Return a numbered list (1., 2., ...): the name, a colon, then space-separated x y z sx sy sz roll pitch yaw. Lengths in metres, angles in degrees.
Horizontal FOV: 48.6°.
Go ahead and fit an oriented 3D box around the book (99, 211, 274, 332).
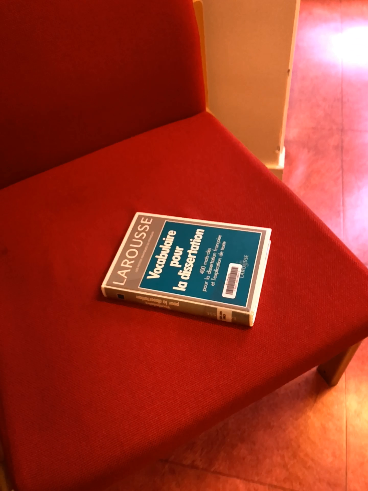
1. book: 0.008 0.026 0.538 0.198 0.030 0.138 8 55 15
